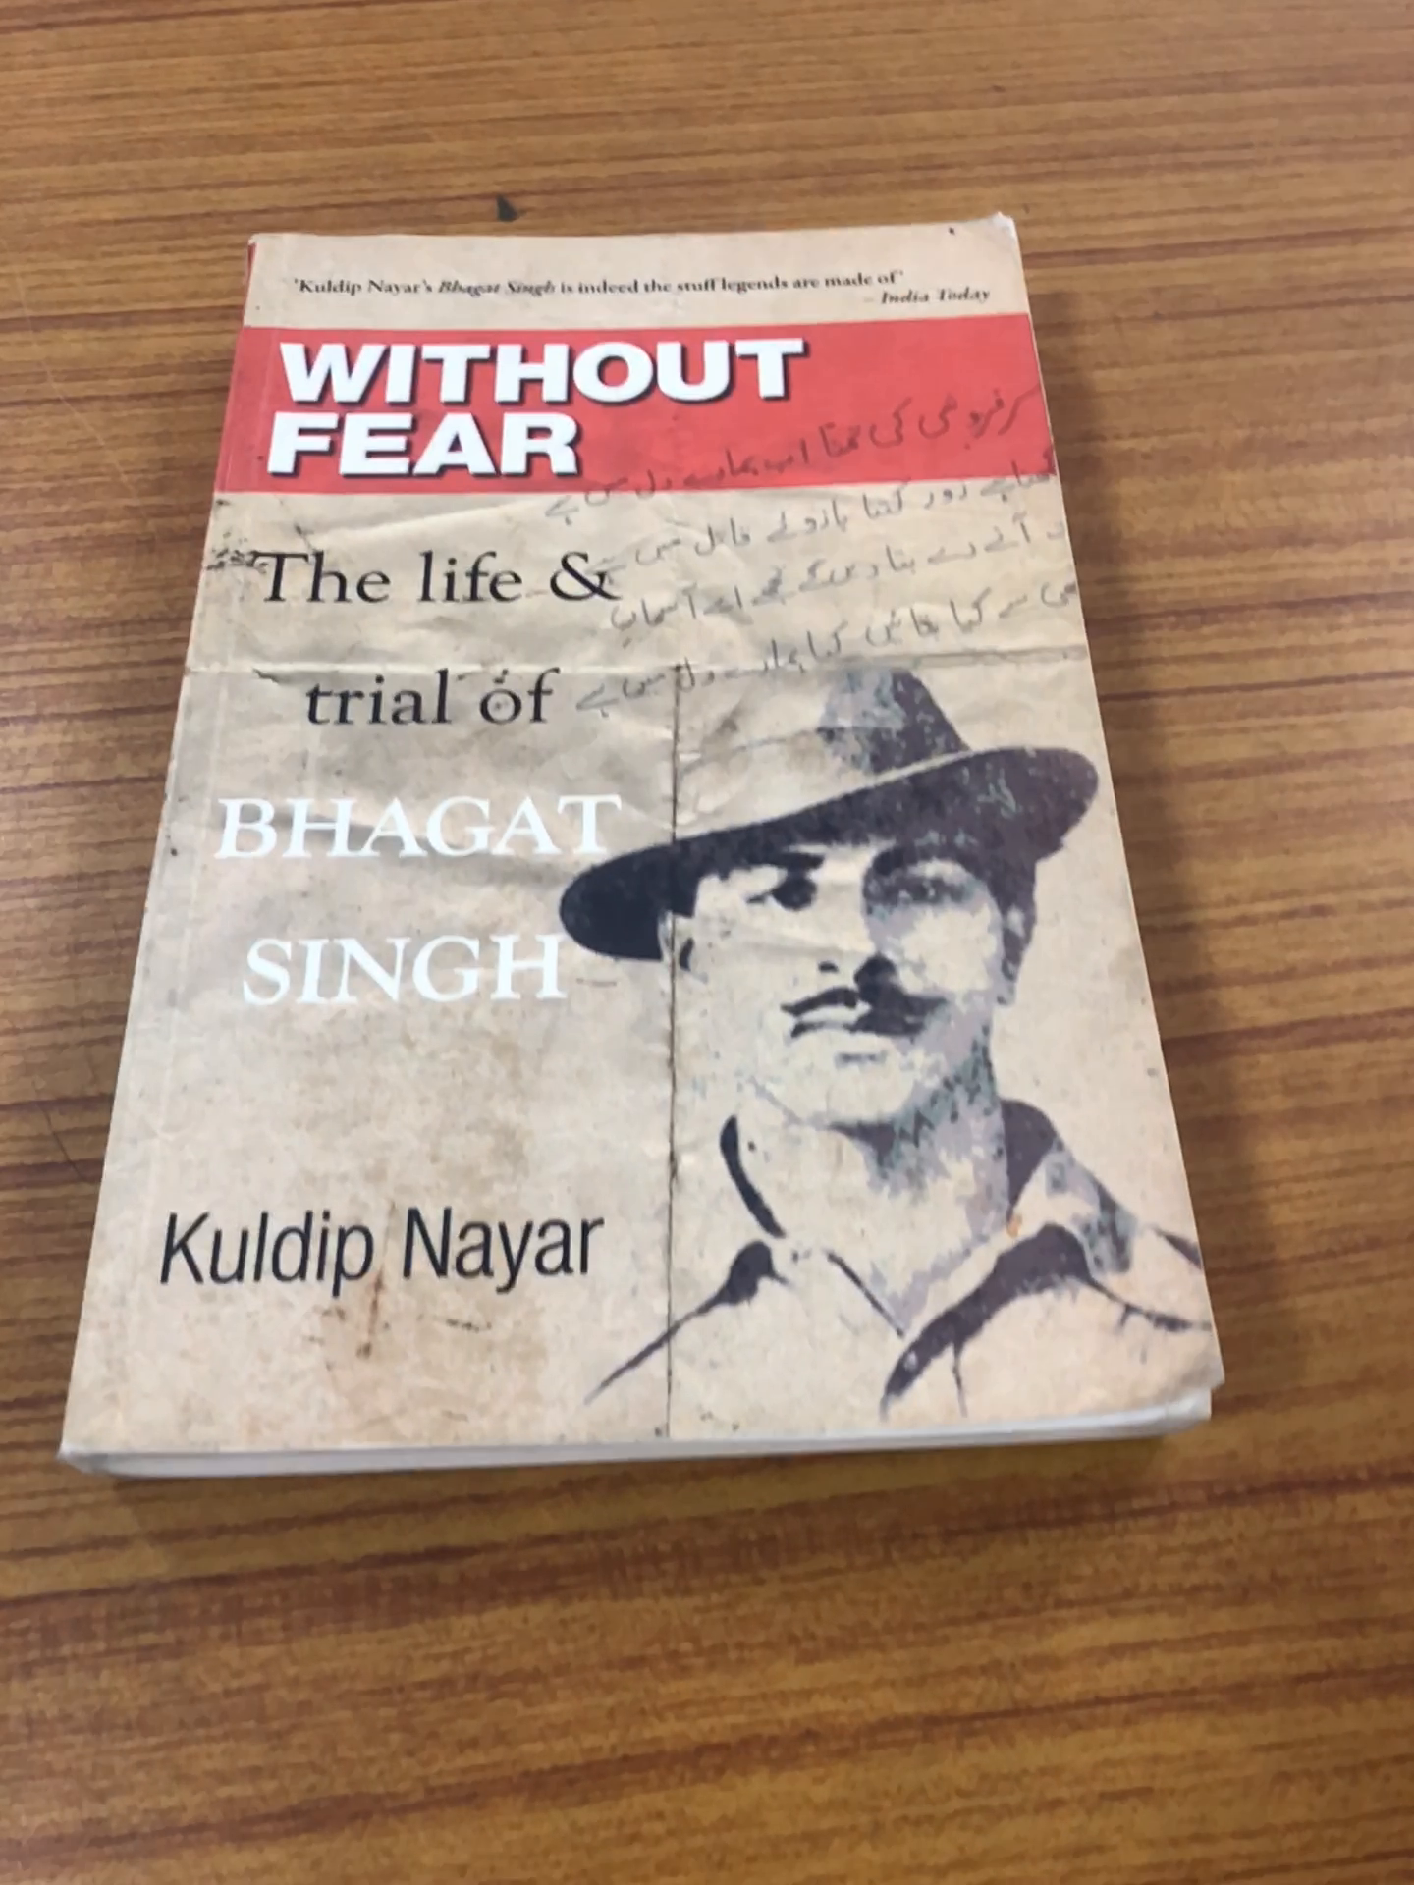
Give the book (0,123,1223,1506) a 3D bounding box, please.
[{"bbox_3d":[-0.018,-0.034,0.225,0.140,0.030,0.210,-1,62,0],"label":"book"}]
